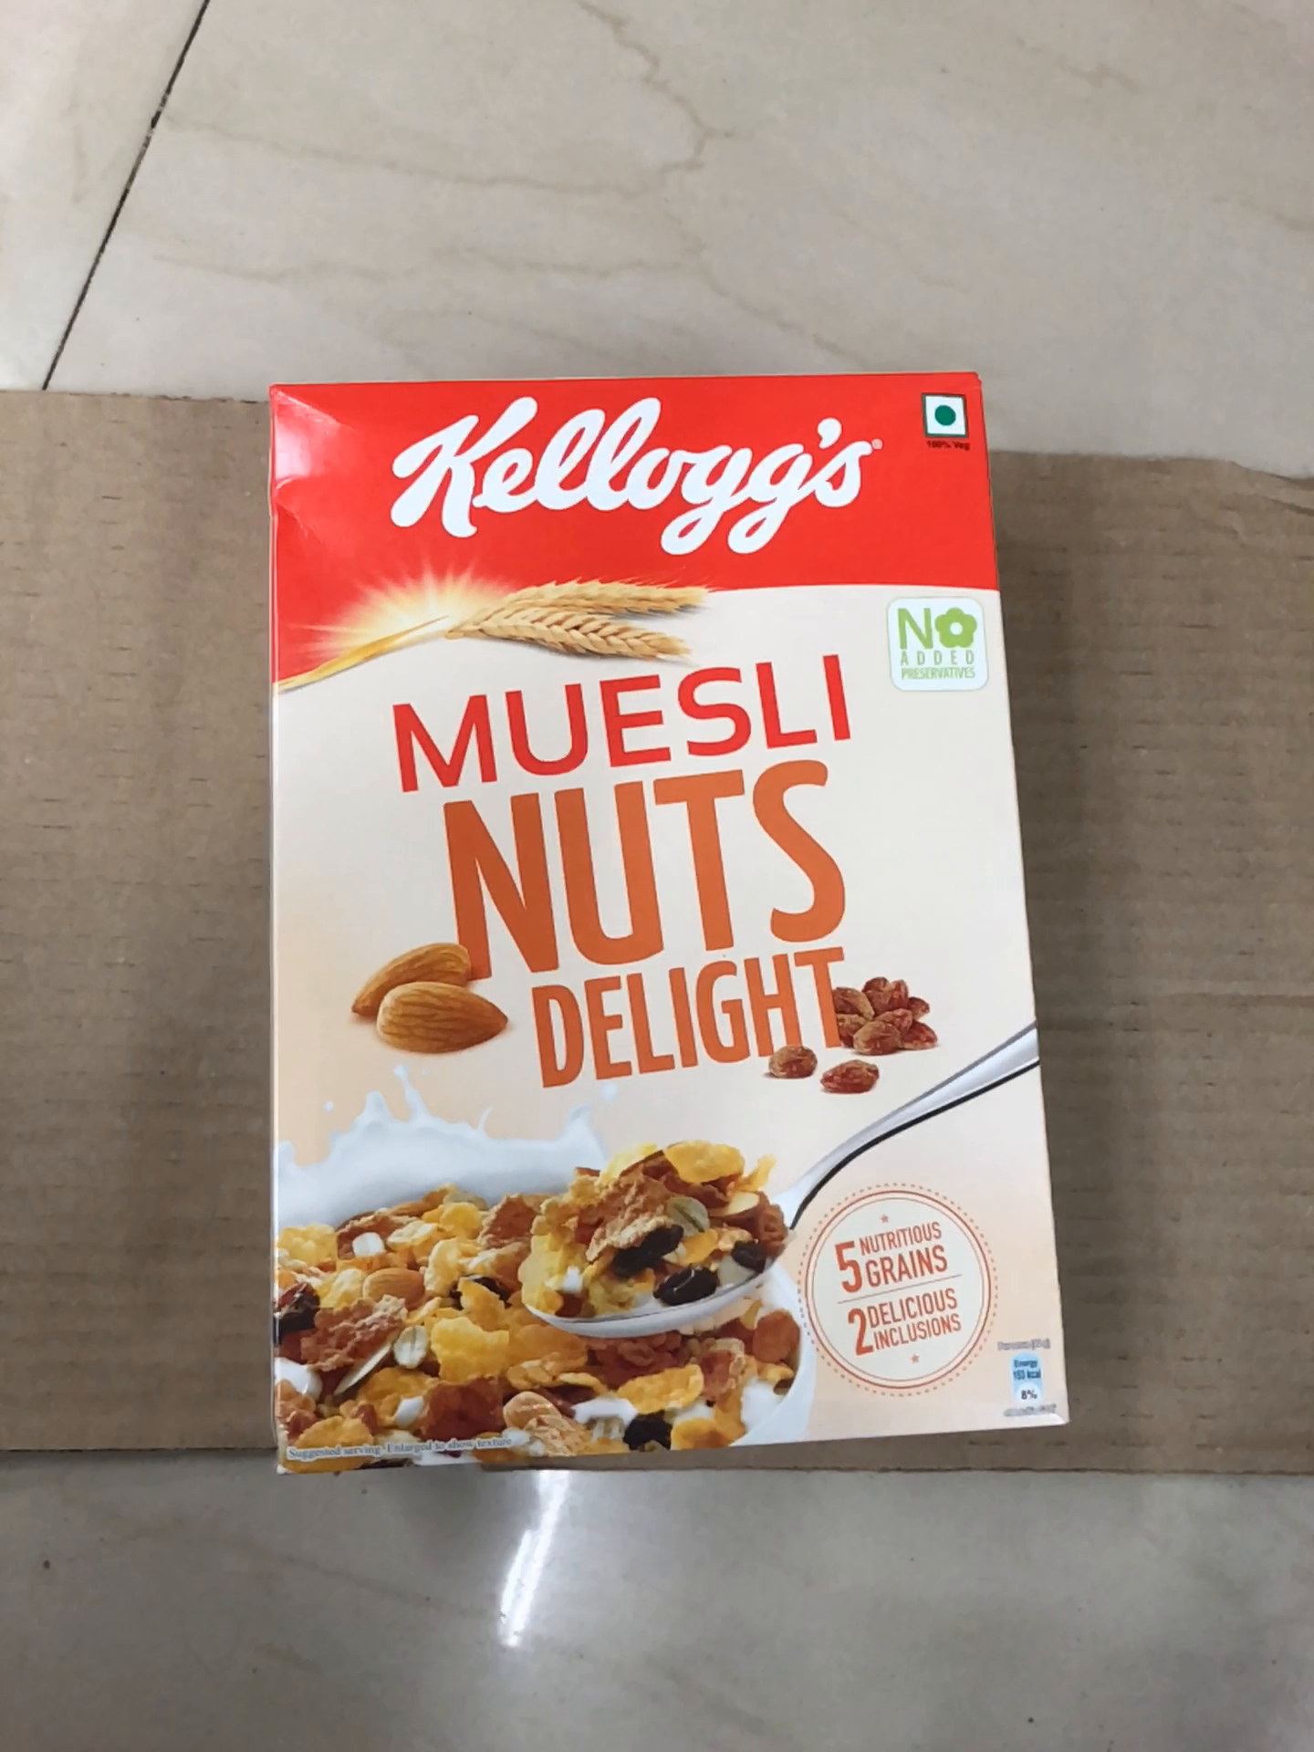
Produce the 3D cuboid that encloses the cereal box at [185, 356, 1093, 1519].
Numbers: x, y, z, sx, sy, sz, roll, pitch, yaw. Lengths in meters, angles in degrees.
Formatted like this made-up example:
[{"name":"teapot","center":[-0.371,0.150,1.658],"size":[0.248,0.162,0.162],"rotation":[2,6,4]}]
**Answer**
[{"name":"cereal box","center":[-0.008,0.010,0.363],"size":[0.190,0.080,0.250],"rotation":[-3,85,-4]}]
